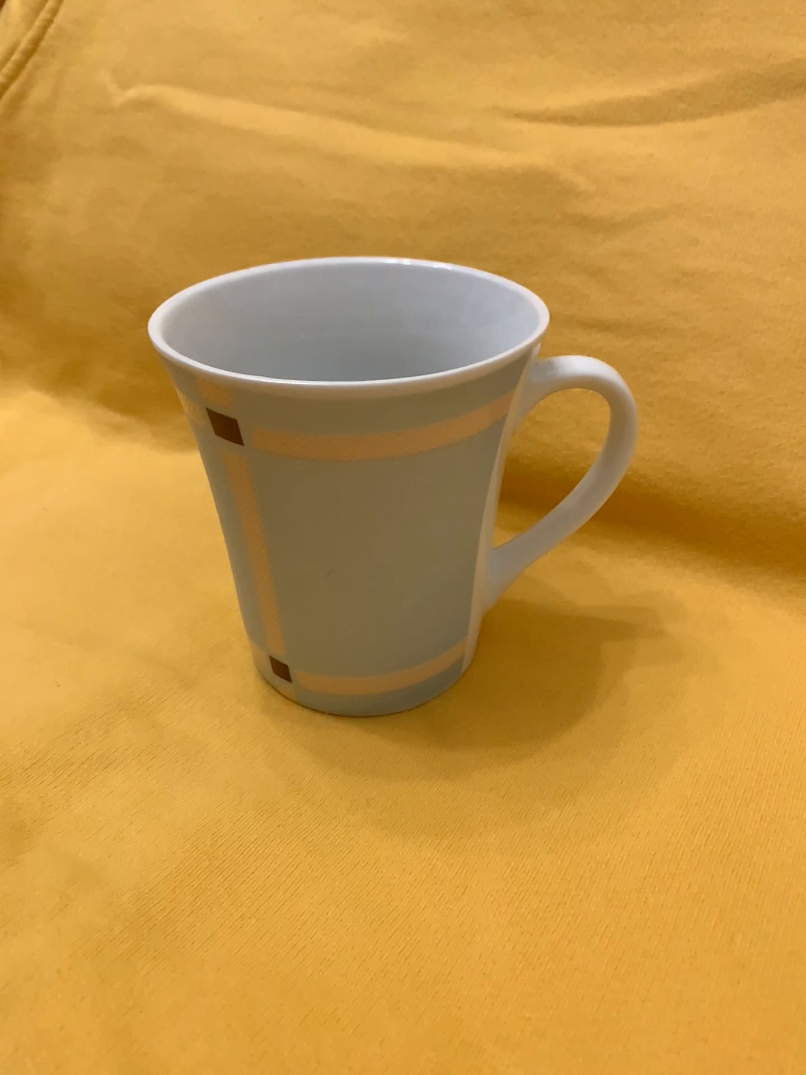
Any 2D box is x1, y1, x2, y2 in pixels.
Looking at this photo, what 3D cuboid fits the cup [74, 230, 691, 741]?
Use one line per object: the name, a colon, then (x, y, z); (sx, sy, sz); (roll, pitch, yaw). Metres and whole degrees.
cup: (-0.002, -0.018, 0.234); (0.120, 0.103, 0.099); (0, 35, 2)
